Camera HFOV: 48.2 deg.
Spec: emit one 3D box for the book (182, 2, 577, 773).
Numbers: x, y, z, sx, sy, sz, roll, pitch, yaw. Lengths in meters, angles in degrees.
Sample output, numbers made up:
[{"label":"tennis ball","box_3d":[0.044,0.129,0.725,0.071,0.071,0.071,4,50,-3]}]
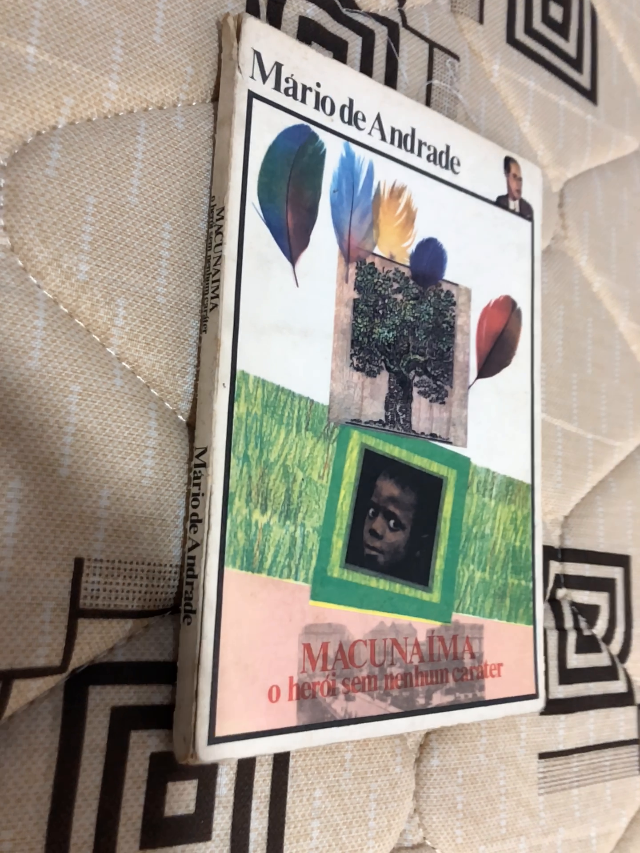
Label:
[{"label":"book","box_3d":[0.028,-0.009,0.218,0.131,0.020,0.190,8,79,-36]}]
